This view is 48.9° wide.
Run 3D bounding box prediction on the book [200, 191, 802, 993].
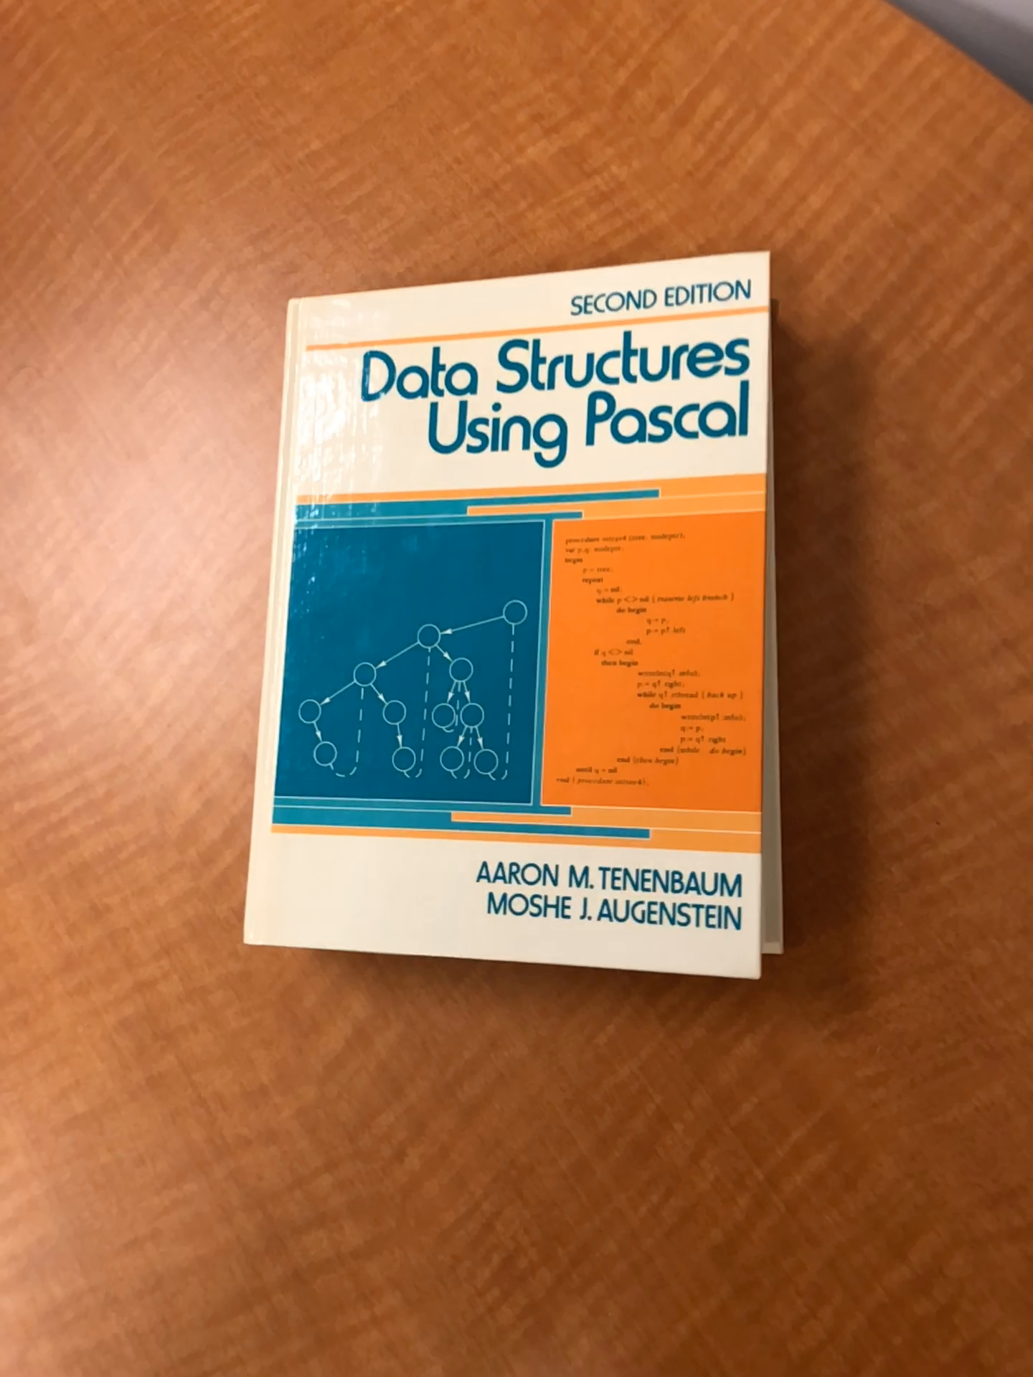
[{"bbox_3d":[-0.002,-0.033,0.409,0.200,0.050,0.260,-1,80,16],"label":"book"}]
